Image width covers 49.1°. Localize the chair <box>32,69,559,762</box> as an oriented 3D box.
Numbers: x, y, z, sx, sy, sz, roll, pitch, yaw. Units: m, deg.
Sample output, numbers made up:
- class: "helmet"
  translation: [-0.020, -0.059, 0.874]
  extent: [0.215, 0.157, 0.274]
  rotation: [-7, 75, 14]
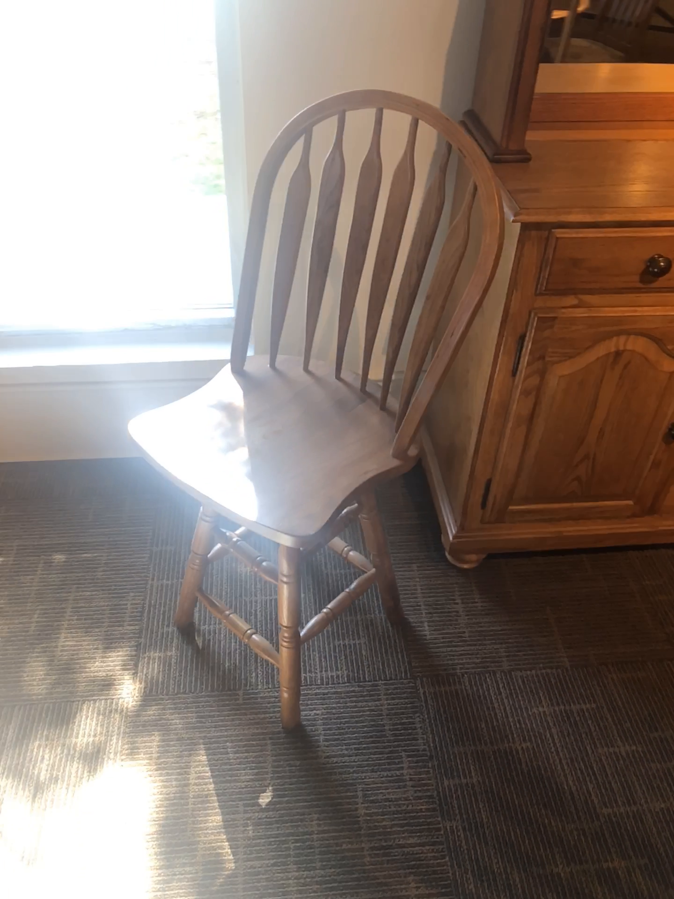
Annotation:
- class: "chair"
  translation: [-0.055, -0.038, 1.341]
  extent: [0.481, 1.025, 0.542]
  rotation: [30, 48, 29]
